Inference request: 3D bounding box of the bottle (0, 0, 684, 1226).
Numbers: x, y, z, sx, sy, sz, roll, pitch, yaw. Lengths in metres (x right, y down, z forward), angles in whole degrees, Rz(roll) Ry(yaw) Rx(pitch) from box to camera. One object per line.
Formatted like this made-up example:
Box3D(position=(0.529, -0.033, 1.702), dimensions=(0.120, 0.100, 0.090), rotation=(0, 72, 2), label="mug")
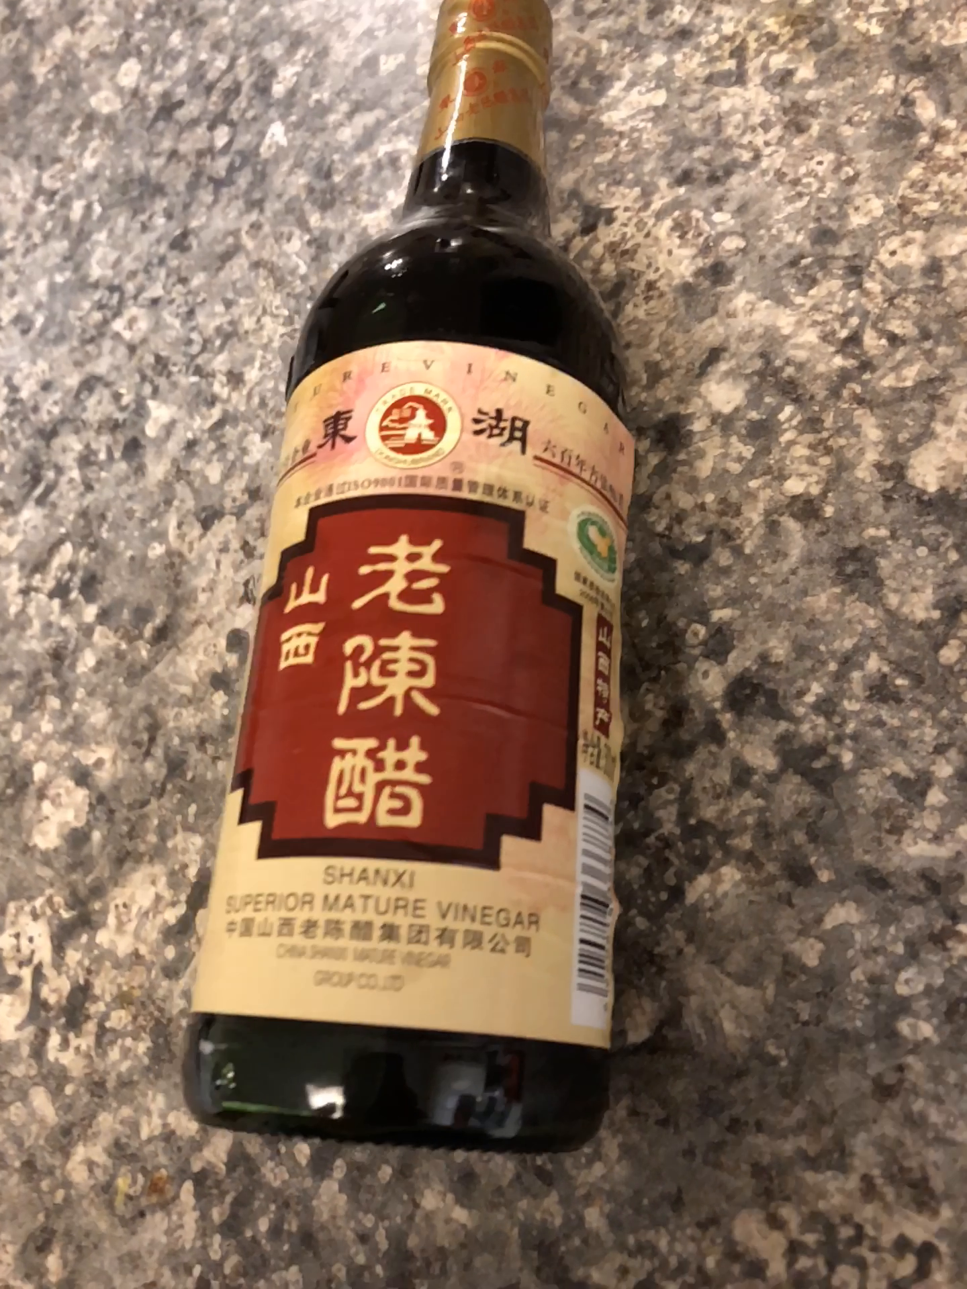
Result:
Box3D(position=(-0.007, -0.038, 0.194), dimensions=(0.070, 0.070, 0.240), rotation=(-3, 67, 20), label="bottle")
